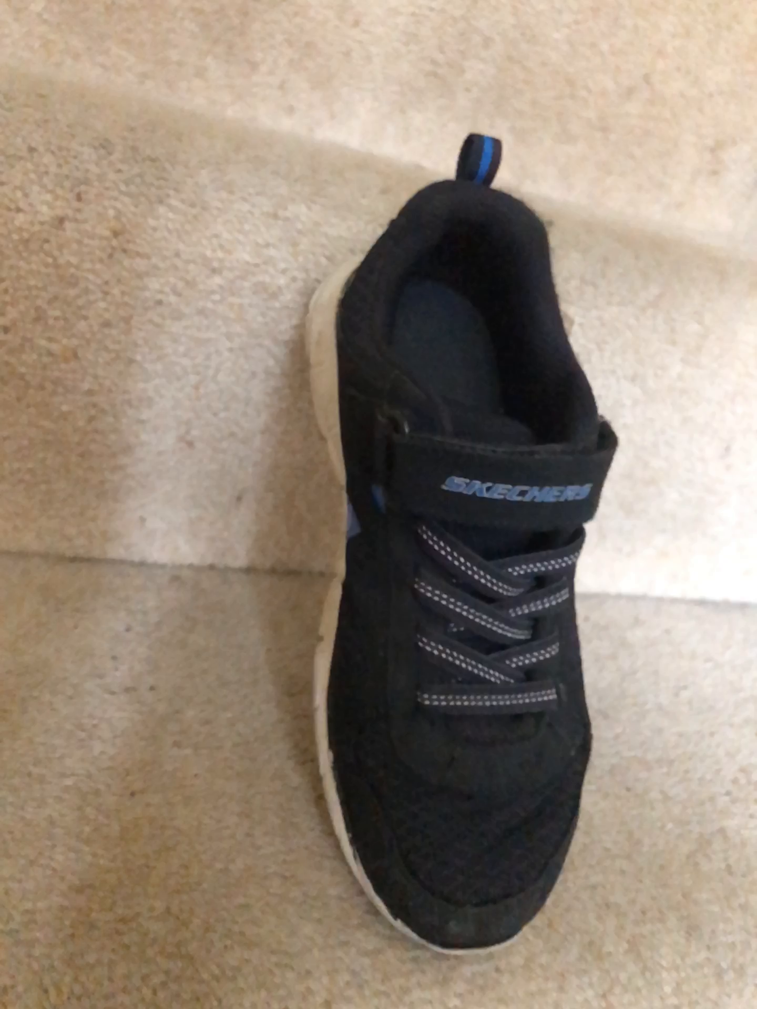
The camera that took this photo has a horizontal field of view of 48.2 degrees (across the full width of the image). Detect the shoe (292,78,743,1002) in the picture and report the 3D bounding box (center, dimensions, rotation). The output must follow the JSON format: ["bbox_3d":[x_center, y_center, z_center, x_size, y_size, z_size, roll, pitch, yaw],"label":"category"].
[{"bbox_3d":[0.026,0.007,0.256,0.090,0.221,0.100,2,-14,-13],"label":"shoe"}]
